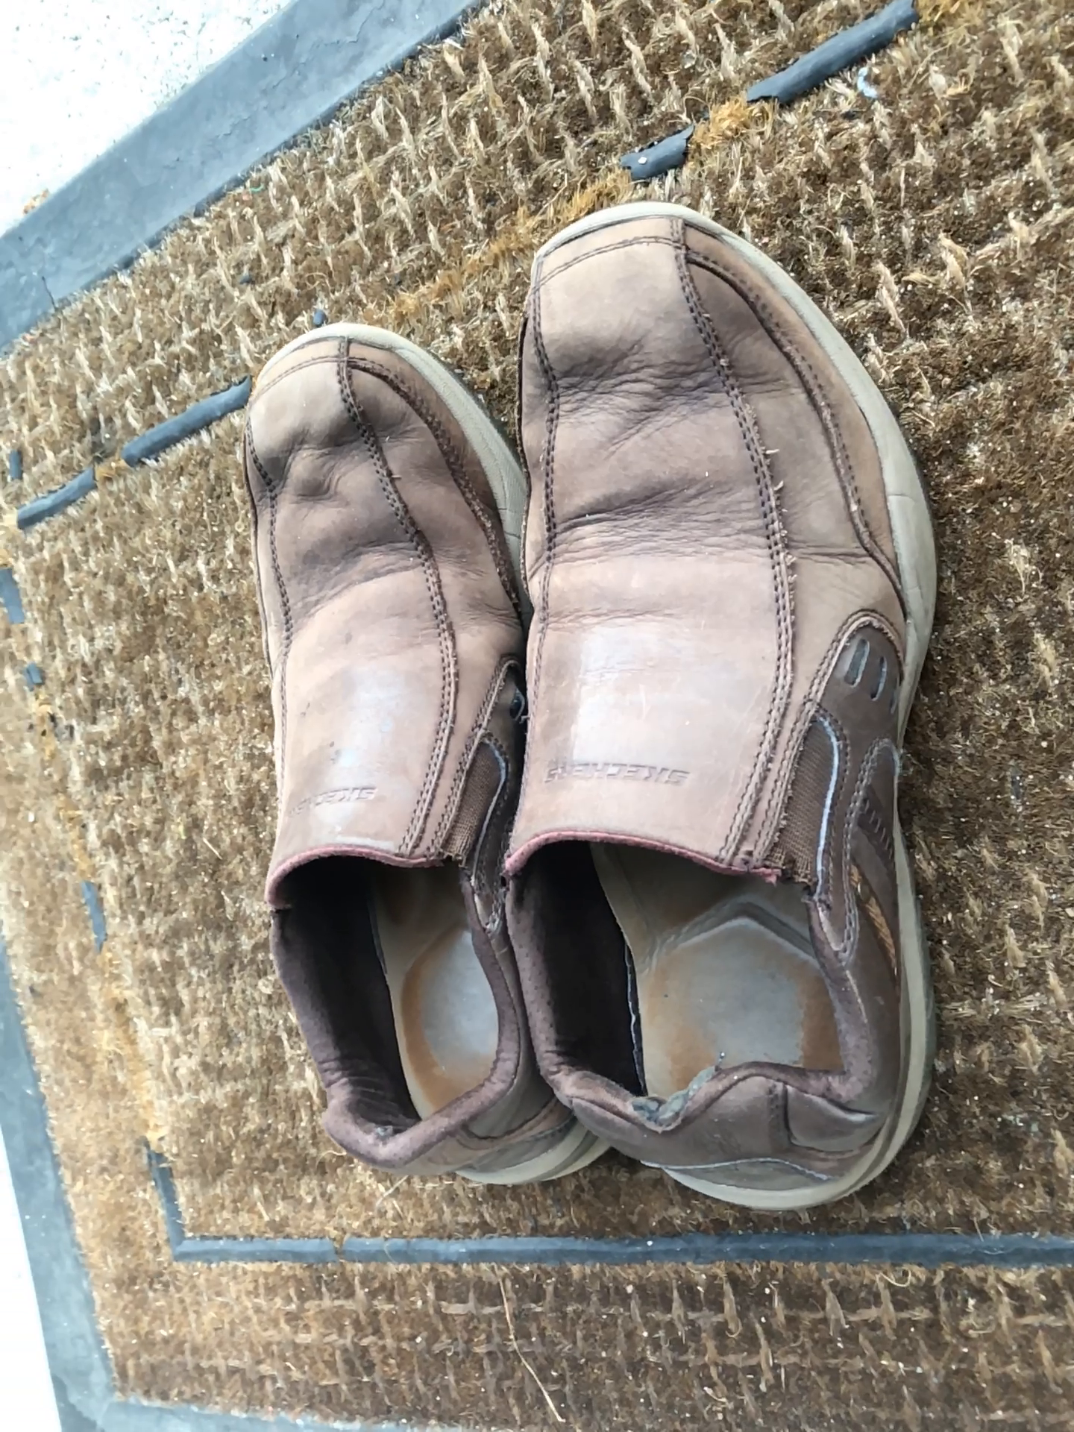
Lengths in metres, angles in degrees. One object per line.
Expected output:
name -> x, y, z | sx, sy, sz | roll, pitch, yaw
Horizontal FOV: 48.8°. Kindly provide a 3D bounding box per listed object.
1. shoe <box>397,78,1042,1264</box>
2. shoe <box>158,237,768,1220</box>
shoe -> 0.055, -0.007, 0.318 | 0.100, 0.100, 0.254 | -9, 93, 31
shoe -> -0.019, 0.007, 0.382 | 0.100, 0.100, 0.267 | -12, 91, 31
